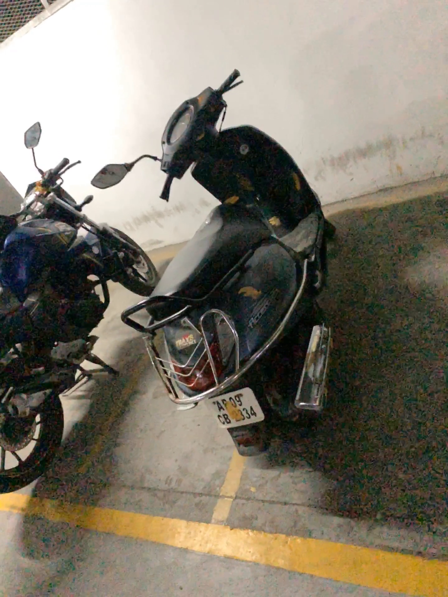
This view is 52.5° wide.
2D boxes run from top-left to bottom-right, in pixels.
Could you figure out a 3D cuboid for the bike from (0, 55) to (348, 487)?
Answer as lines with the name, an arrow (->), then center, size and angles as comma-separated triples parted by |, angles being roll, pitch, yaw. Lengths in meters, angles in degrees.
bike -> 0.041, -0.187, 2.109 | 0.654, 1.238, 1.536 | -16, 34, 25
